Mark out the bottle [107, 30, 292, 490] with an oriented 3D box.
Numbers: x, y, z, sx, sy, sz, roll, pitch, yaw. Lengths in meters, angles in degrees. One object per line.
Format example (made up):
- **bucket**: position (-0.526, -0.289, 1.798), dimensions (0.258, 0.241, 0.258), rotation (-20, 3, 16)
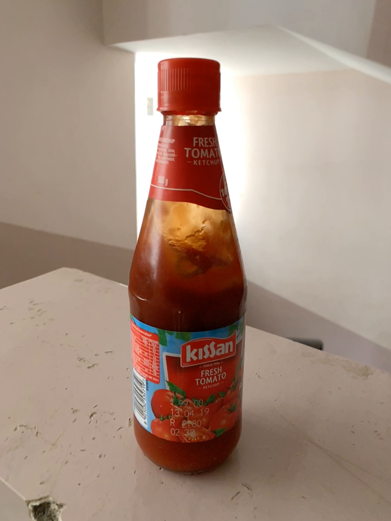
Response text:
- **bottle**: position (-0.005, 0.004, 0.228), dimensions (0.070, 0.219, 0.070), rotation (1, 17, 0)
